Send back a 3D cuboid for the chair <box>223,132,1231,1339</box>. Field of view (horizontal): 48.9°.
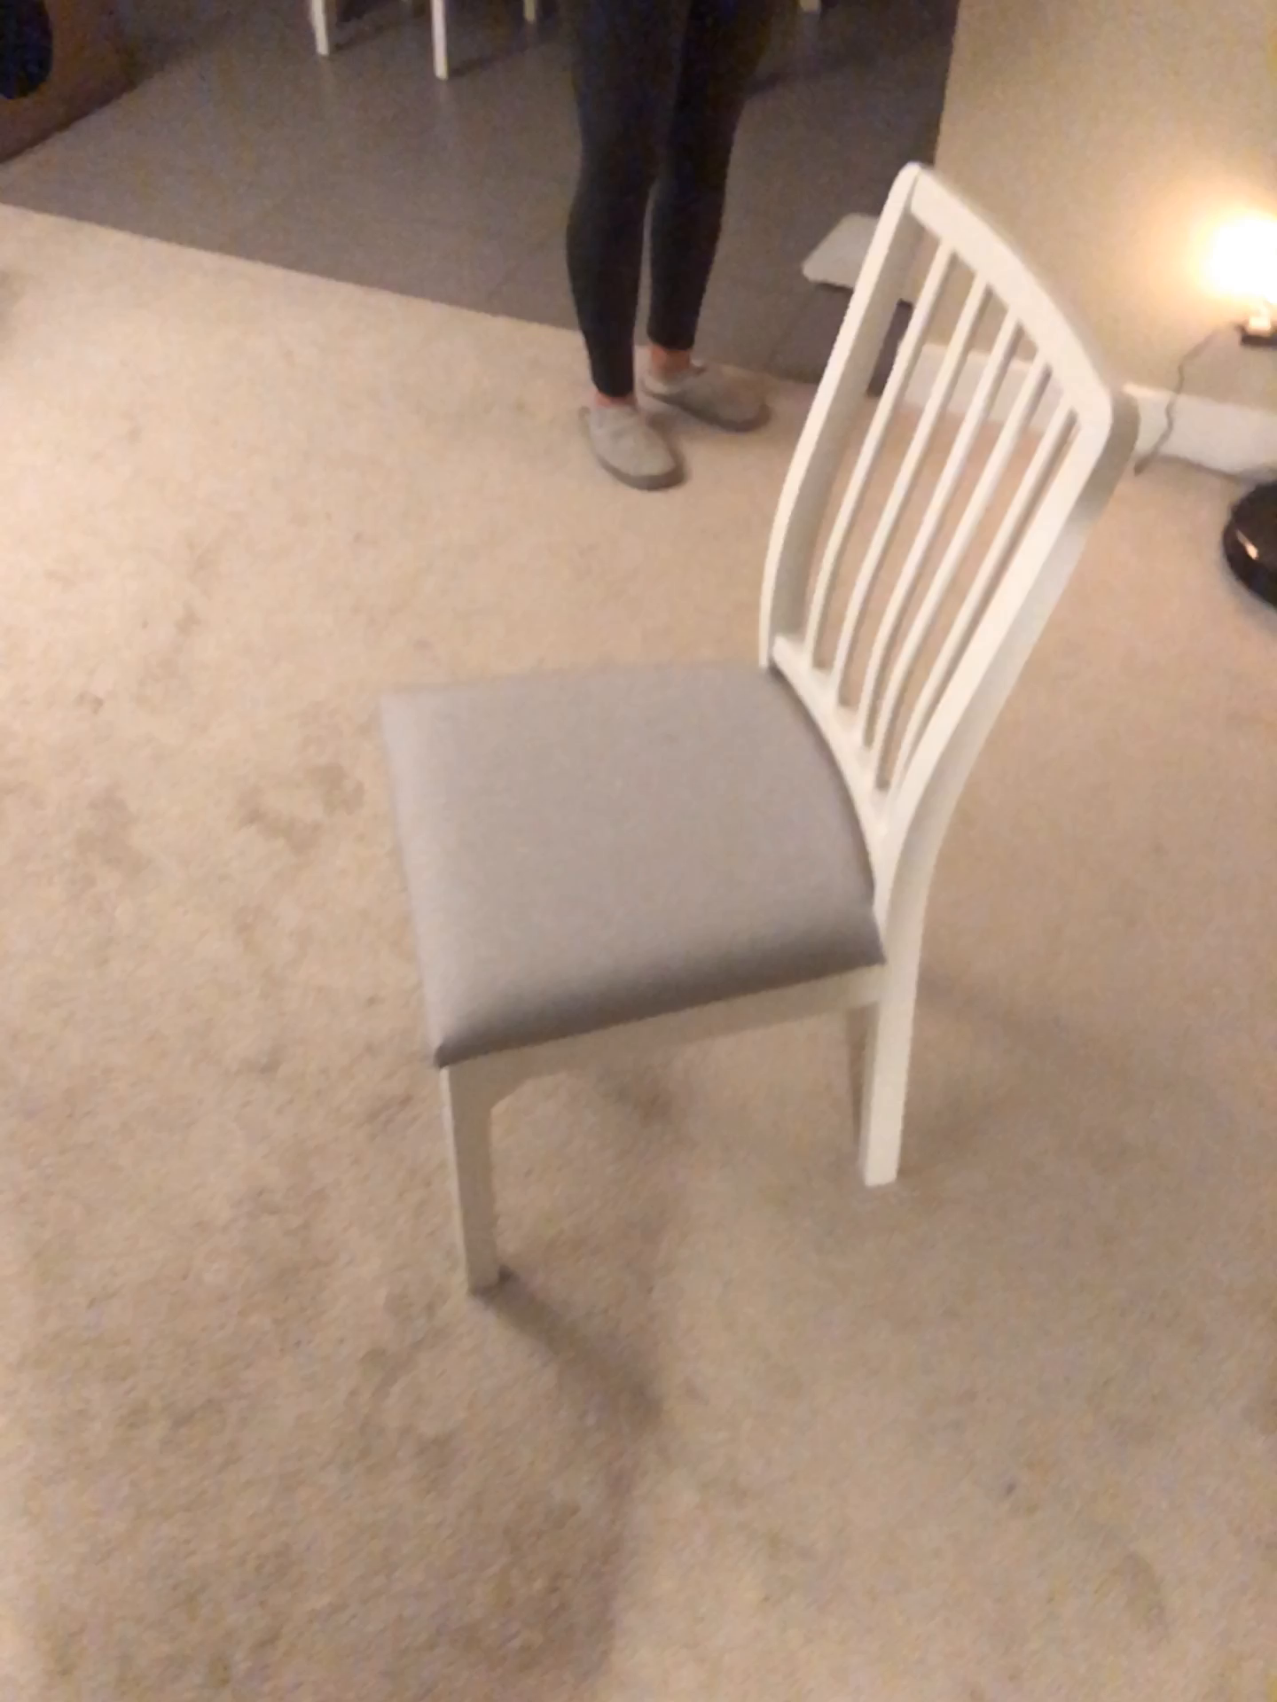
[{"bbox_3d":[0.013,-0.043,1.248,0.550,0.905,0.503,-8,49,-7],"label":"chair"}]
